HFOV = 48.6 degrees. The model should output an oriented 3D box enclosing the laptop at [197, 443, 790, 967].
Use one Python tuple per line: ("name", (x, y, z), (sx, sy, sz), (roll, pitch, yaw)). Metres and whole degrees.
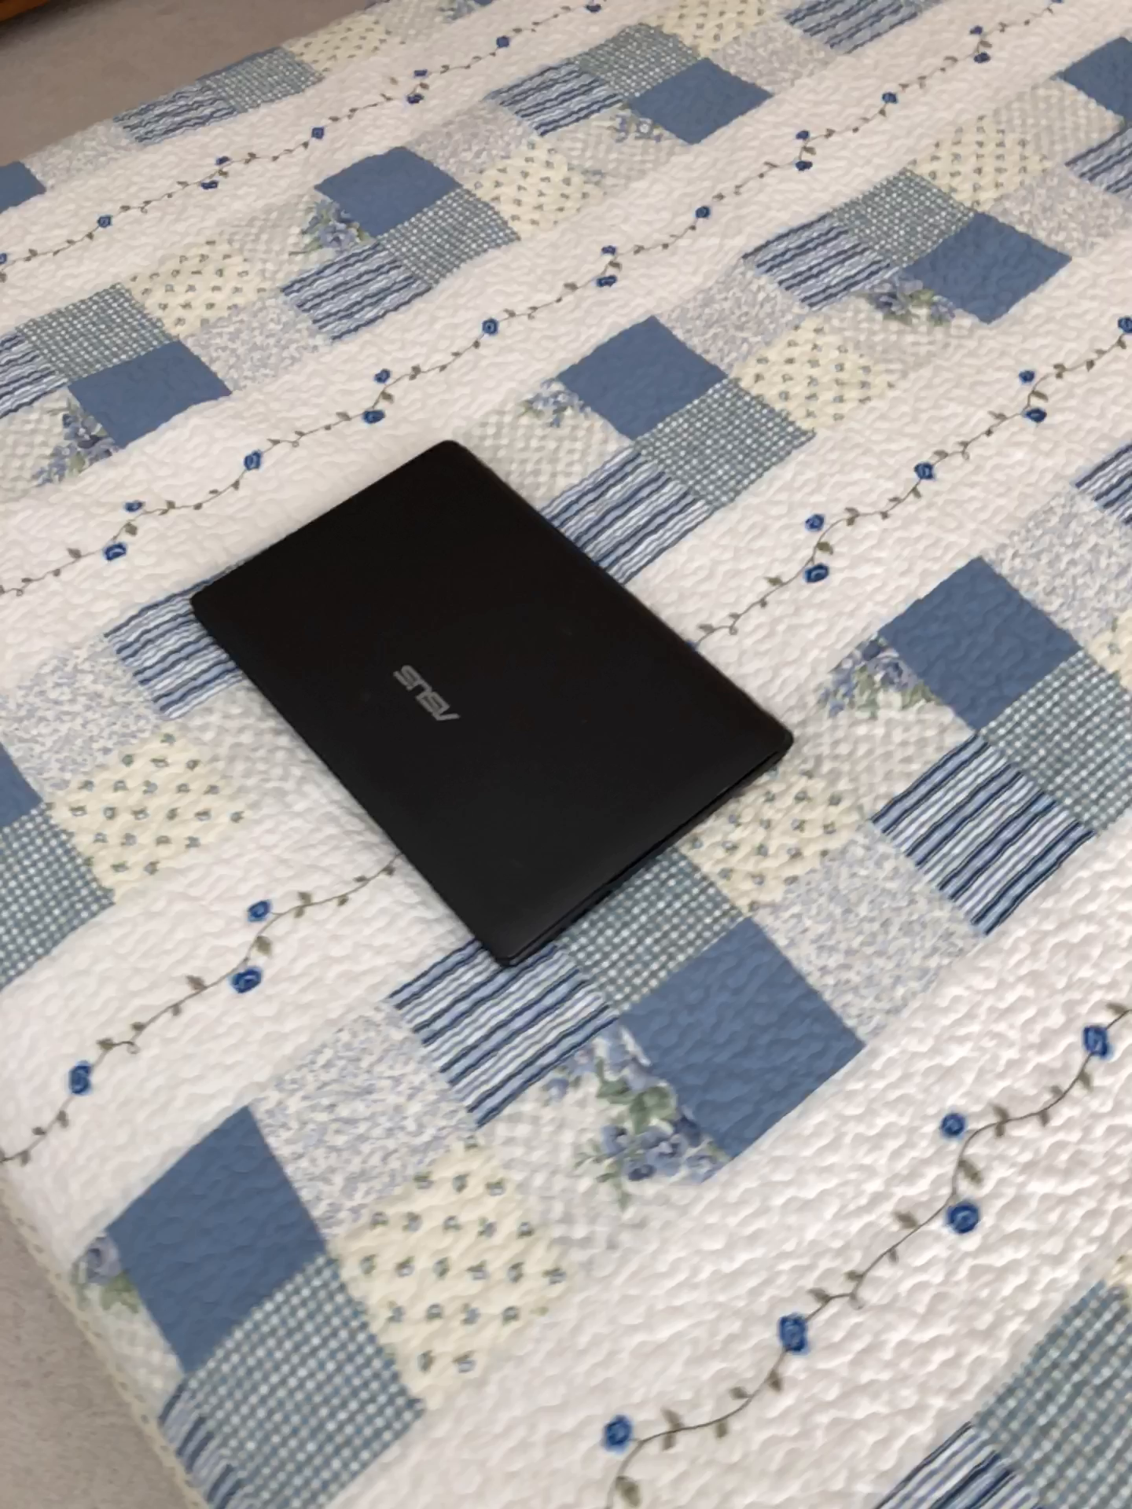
("laptop", (-0.061, -0.059, 0.862), (0.235, 0.006, 0.369), (-36, 62, -17))
